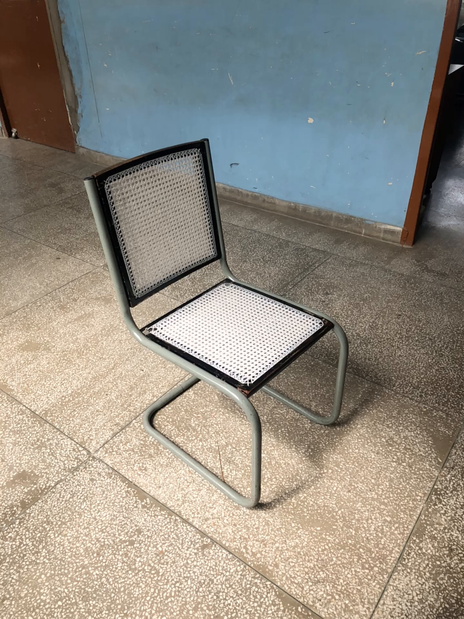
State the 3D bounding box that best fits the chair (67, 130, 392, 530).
[{"bbox_3d":[0.000,0.025,1.409,0.571,0.817,0.491,25,42,33],"label":"chair"}]
